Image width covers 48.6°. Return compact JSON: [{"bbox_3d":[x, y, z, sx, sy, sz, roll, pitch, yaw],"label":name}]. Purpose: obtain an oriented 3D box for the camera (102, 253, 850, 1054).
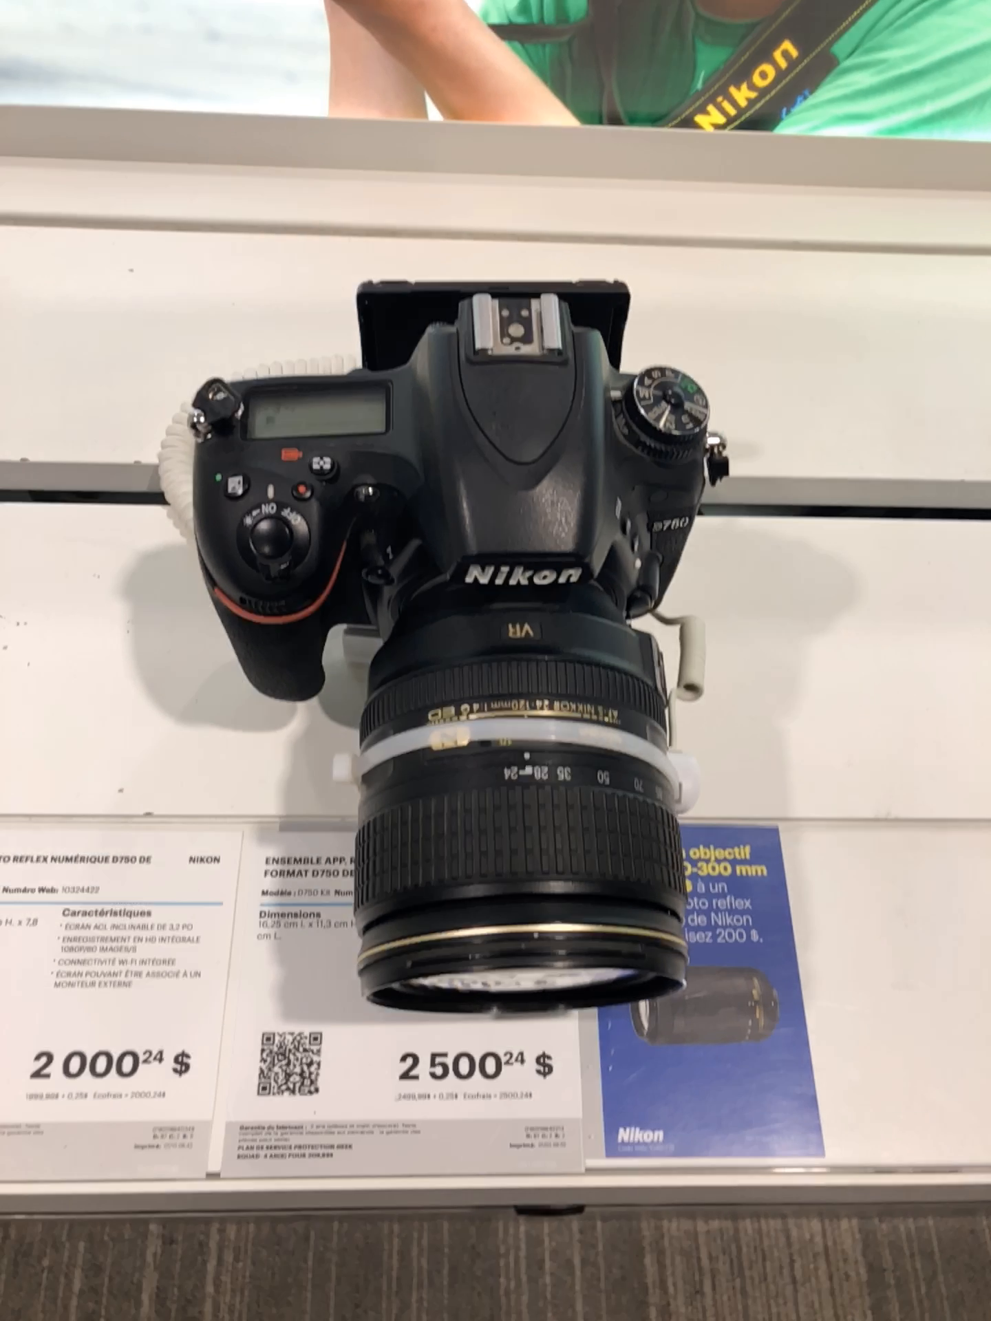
[{"bbox_3d":[-0.010,-0.004,0.290,0.138,0.099,0.184,-1,61,-4],"label":"camera"}]
